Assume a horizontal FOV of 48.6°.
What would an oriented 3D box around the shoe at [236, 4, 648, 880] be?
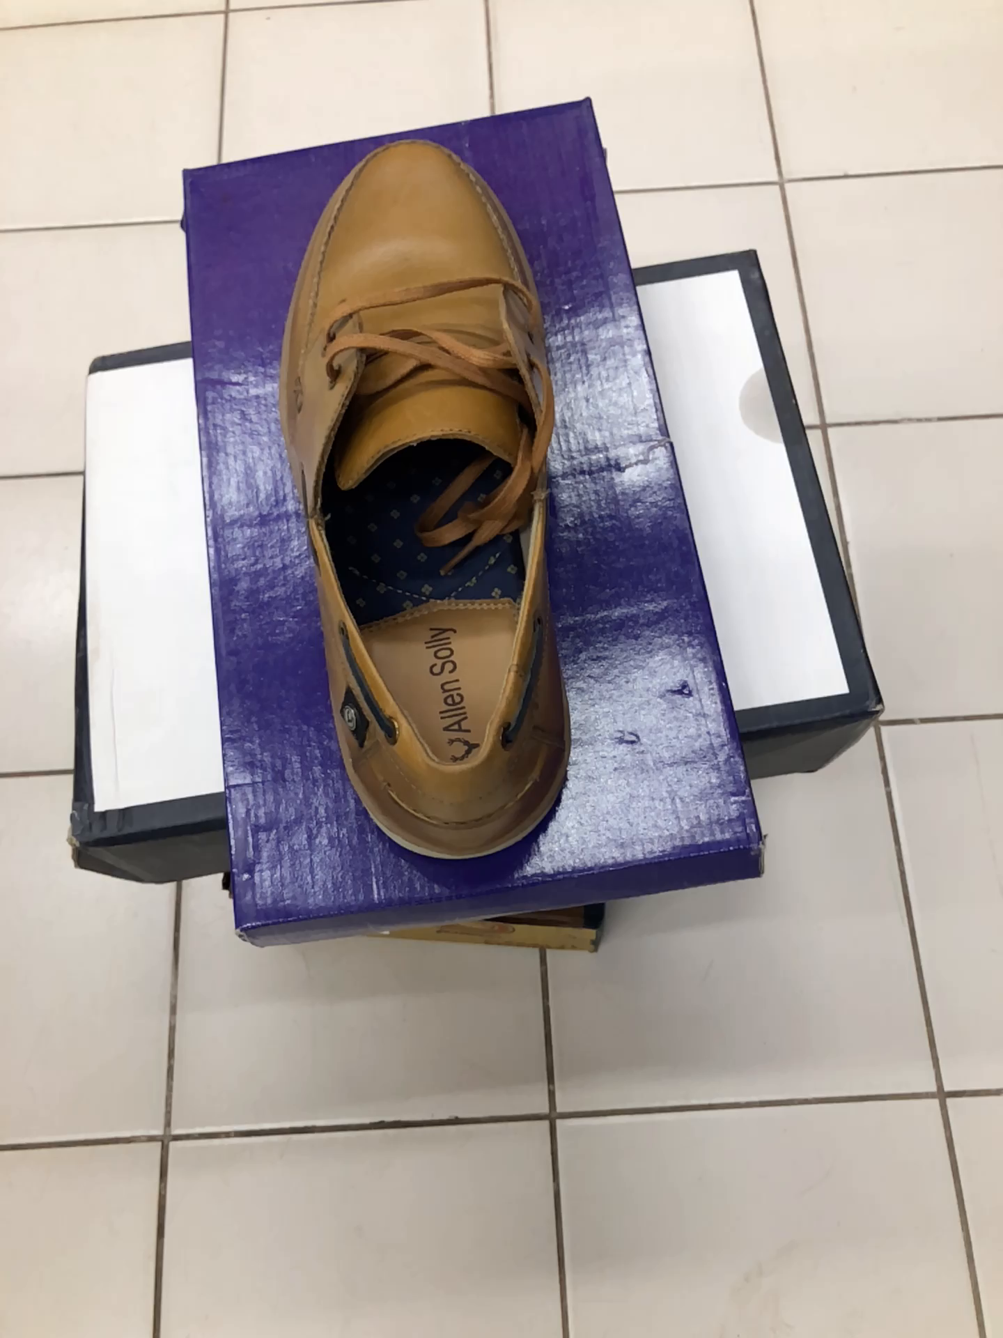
[{"bbox_3d":[-0.024,-0.073,0.371,0.100,0.110,0.261,-5,70,-1],"label":"shoe"}]
